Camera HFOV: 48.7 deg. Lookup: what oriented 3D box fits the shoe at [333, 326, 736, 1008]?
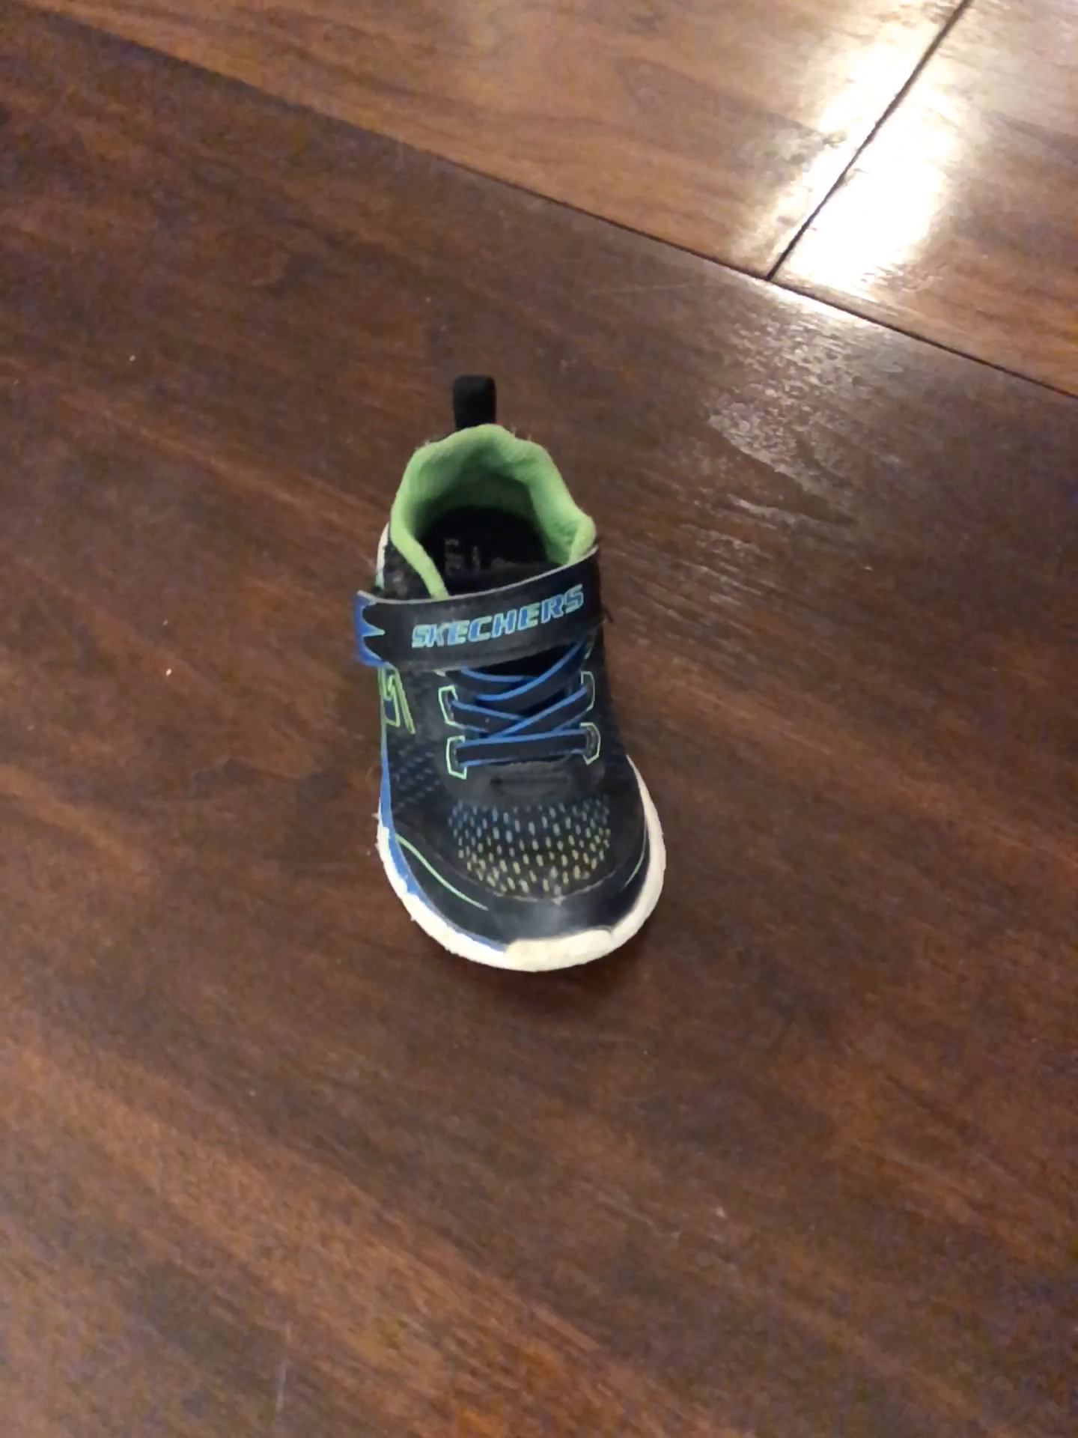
[{"bbox_3d":[-0.007,-0.018,0.342,0.080,0.080,0.170,-7,61,-4],"label":"shoe"}]
